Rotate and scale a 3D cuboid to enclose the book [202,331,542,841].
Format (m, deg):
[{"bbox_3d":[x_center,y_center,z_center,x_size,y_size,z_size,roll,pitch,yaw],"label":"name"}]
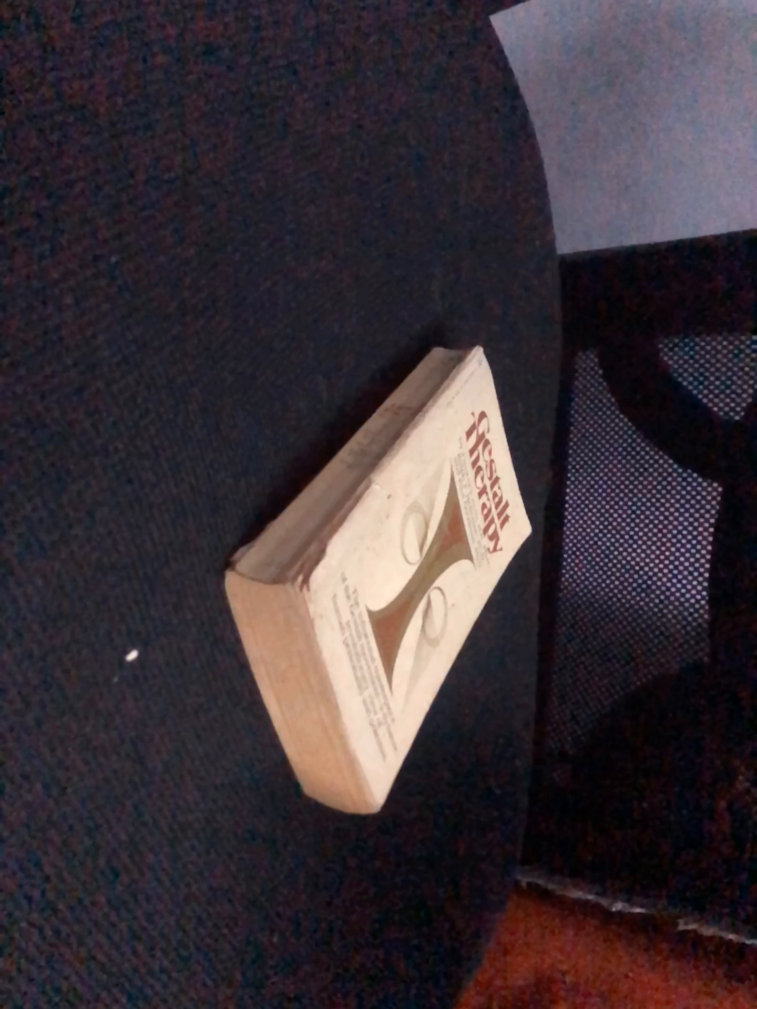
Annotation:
[{"bbox_3d":[0.015,0.021,0.346,0.183,0.034,0.120,-52,133,-47],"label":"book"}]
